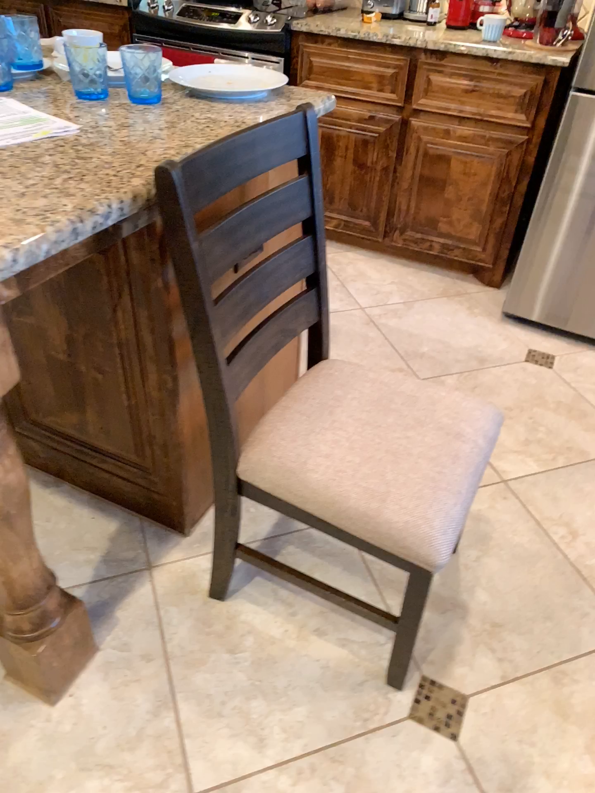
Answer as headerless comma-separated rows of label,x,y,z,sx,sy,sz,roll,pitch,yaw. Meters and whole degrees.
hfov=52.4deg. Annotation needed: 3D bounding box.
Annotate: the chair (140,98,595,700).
chair,0.115,0.020,1.135,0.525,0.909,0.469,19,41,19
